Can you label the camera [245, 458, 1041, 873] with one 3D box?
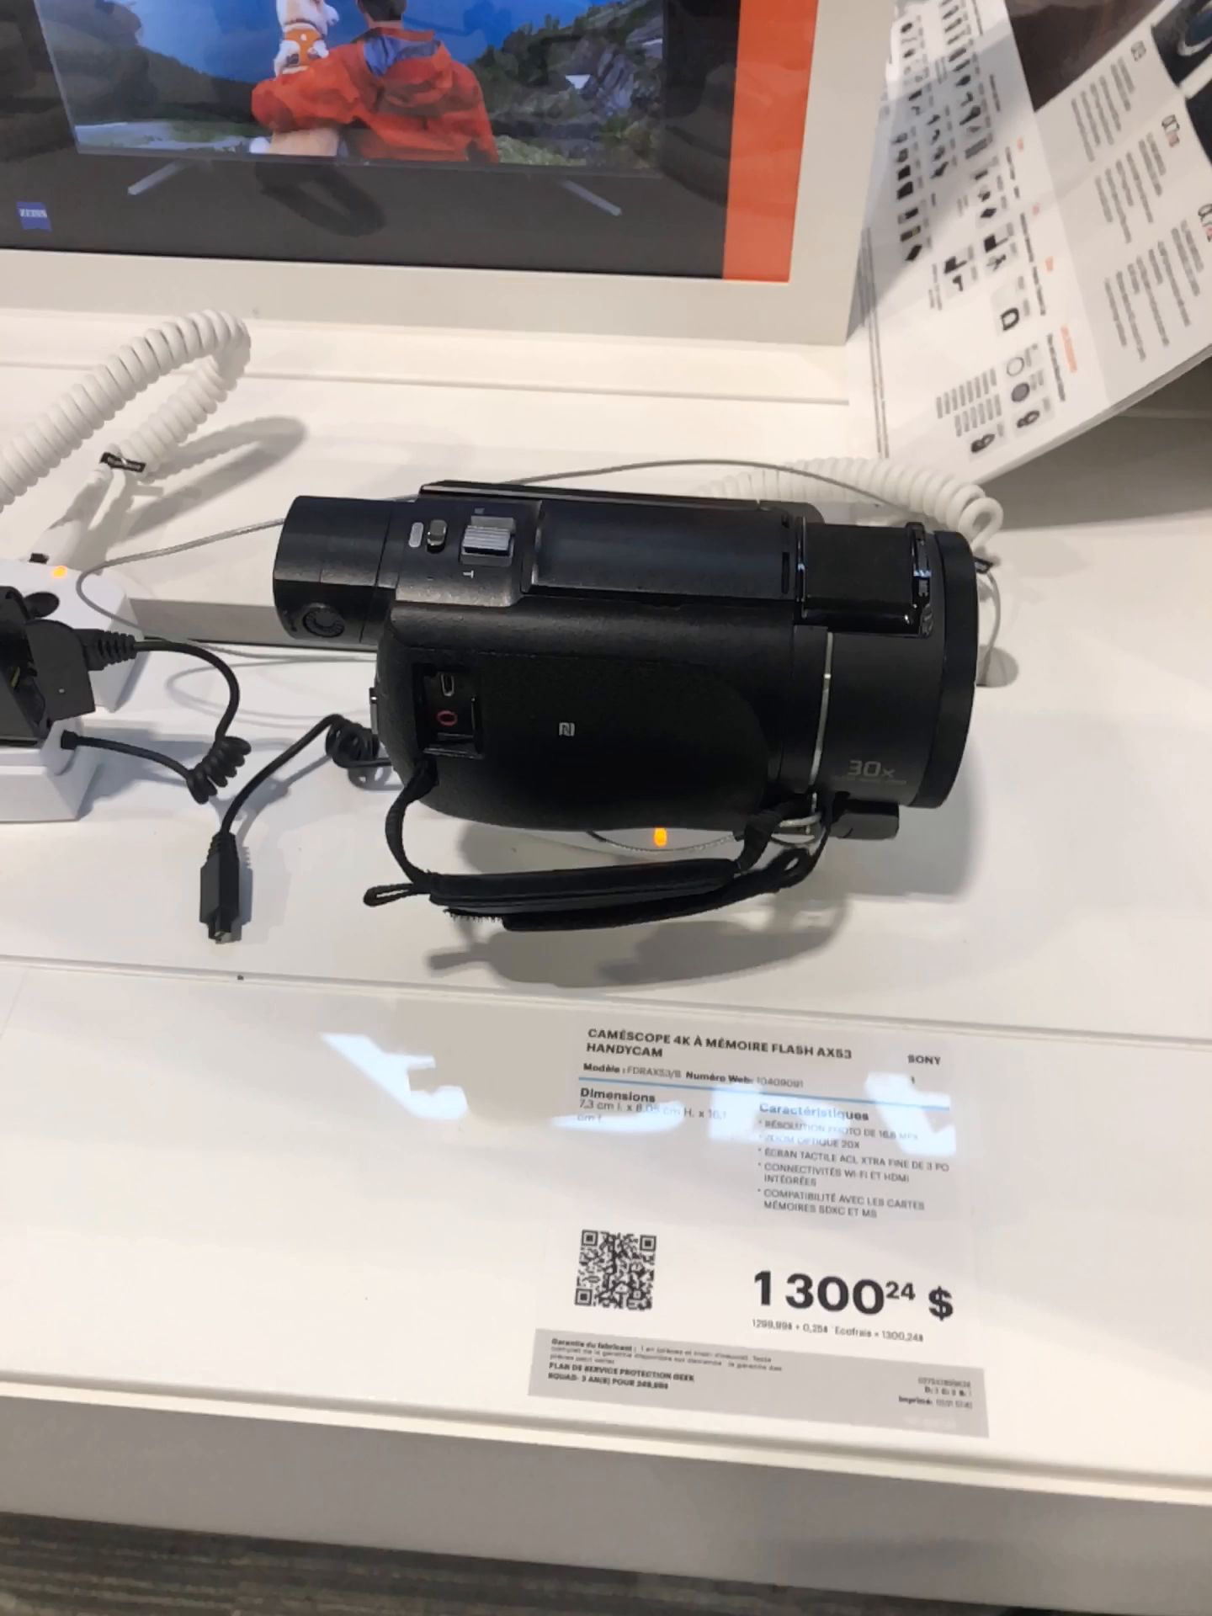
[{"bbox_3d":[0.009,-0.035,0.328,0.168,0.066,0.062,4,50,4],"label":"camera"}]
